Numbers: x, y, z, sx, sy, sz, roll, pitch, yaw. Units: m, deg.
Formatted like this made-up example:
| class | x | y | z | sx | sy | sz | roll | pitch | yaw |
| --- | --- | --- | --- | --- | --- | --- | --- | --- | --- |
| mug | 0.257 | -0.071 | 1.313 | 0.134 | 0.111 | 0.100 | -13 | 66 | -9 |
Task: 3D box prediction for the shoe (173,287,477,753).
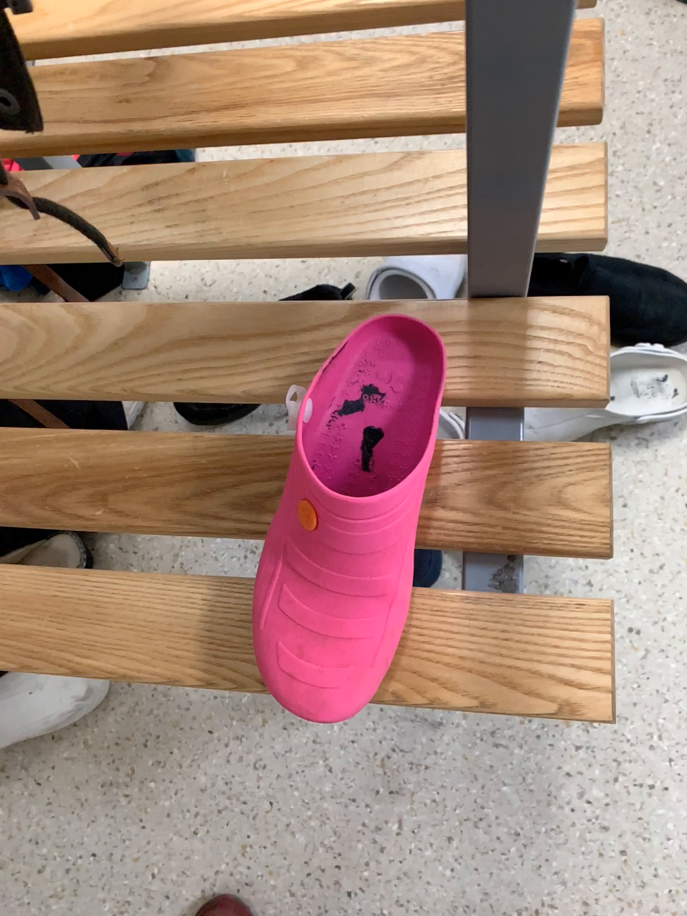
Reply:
| class | x | y | z | sx | sy | sz | roll | pitch | yaw |
| --- | --- | --- | --- | --- | --- | --- | --- | --- | --- |
| shoe | -0.002 | 0.029 | 0.391 | 0.096 | 0.068 | 0.220 | 15 | 81 | 14 |
